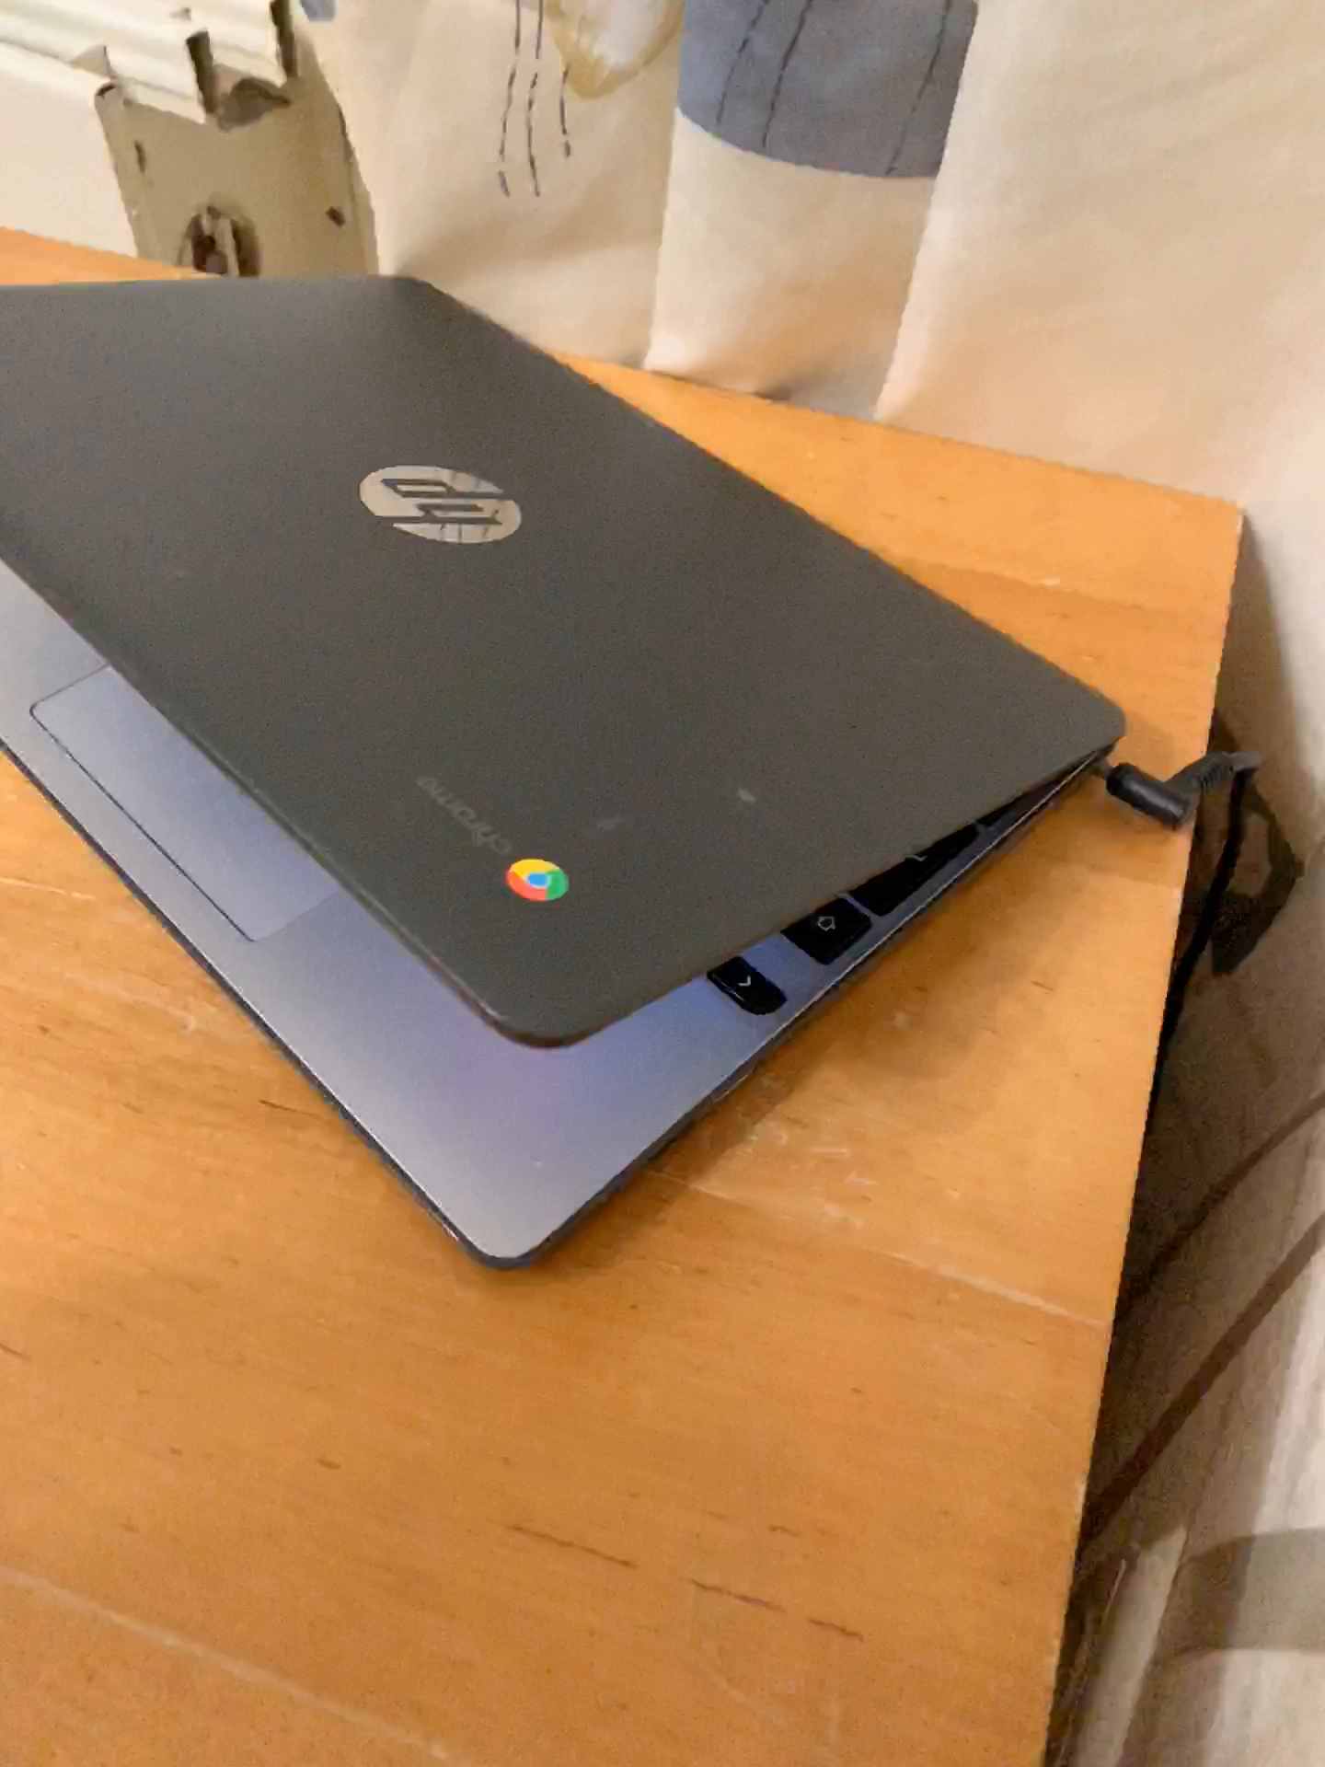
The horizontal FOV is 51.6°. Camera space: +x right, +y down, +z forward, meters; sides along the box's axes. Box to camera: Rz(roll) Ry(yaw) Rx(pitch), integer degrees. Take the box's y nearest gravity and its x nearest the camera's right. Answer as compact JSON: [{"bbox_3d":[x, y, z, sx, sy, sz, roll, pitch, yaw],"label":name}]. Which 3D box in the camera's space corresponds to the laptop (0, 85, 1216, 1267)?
[{"bbox_3d":[-0.050,-0.081,0.318,0.191,0.066,0.268,-36,61,-26],"label":"laptop"}]
